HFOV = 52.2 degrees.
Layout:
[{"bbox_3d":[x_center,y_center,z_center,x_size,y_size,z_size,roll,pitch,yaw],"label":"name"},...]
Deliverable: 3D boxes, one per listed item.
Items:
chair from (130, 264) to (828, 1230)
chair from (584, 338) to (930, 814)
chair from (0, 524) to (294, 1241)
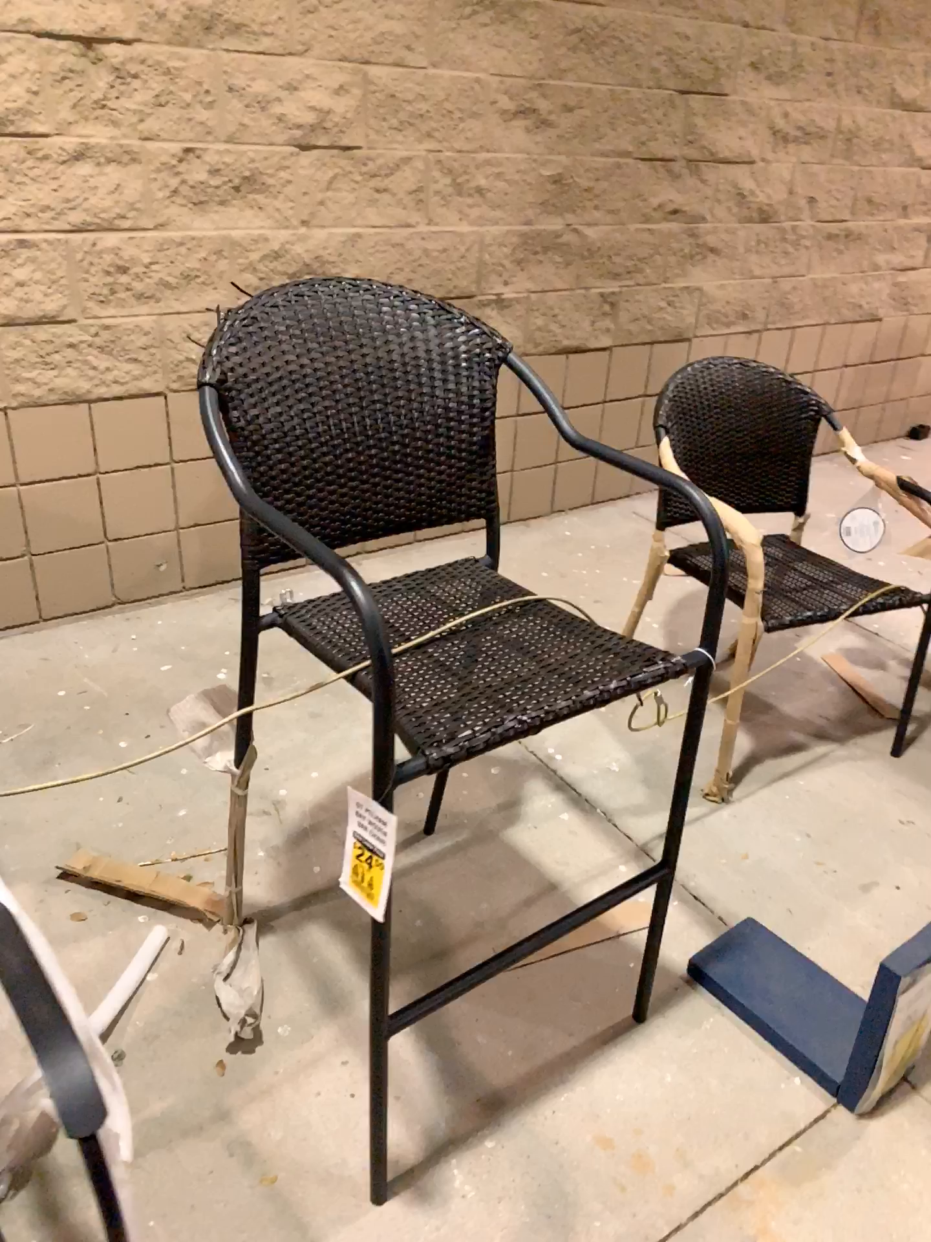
[{"bbox_3d":[-0.040,0.130,1.364,0.558,1.101,0.609,-17,35,-33],"label":"chair"},{"bbox_3d":[0.718,-0.142,2.174,0.567,0.833,0.630,-8,31,-21],"label":"chair"},{"bbox_3d":[-0.566,0.466,0.818,0.578,0.833,0.609,-19,36,-36],"label":"chair"}]
